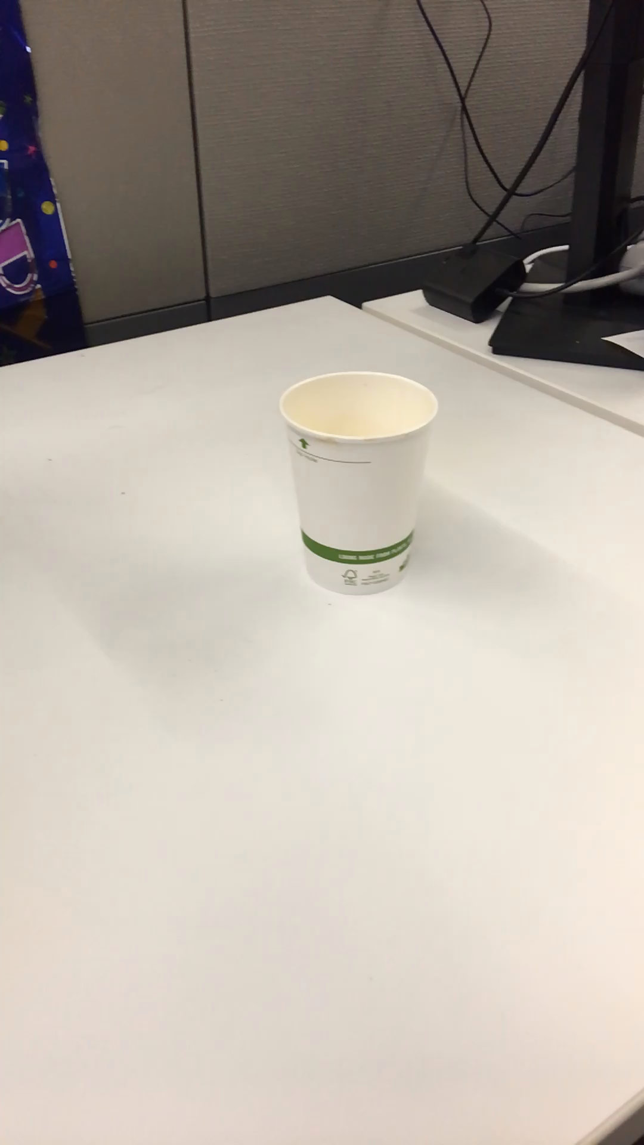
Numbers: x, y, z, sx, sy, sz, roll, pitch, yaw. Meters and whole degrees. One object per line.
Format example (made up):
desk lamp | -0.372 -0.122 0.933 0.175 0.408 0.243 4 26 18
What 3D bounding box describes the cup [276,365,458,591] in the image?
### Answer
cup | 0.022 -0.053 0.534 0.090 0.100 0.080 0 33 0
